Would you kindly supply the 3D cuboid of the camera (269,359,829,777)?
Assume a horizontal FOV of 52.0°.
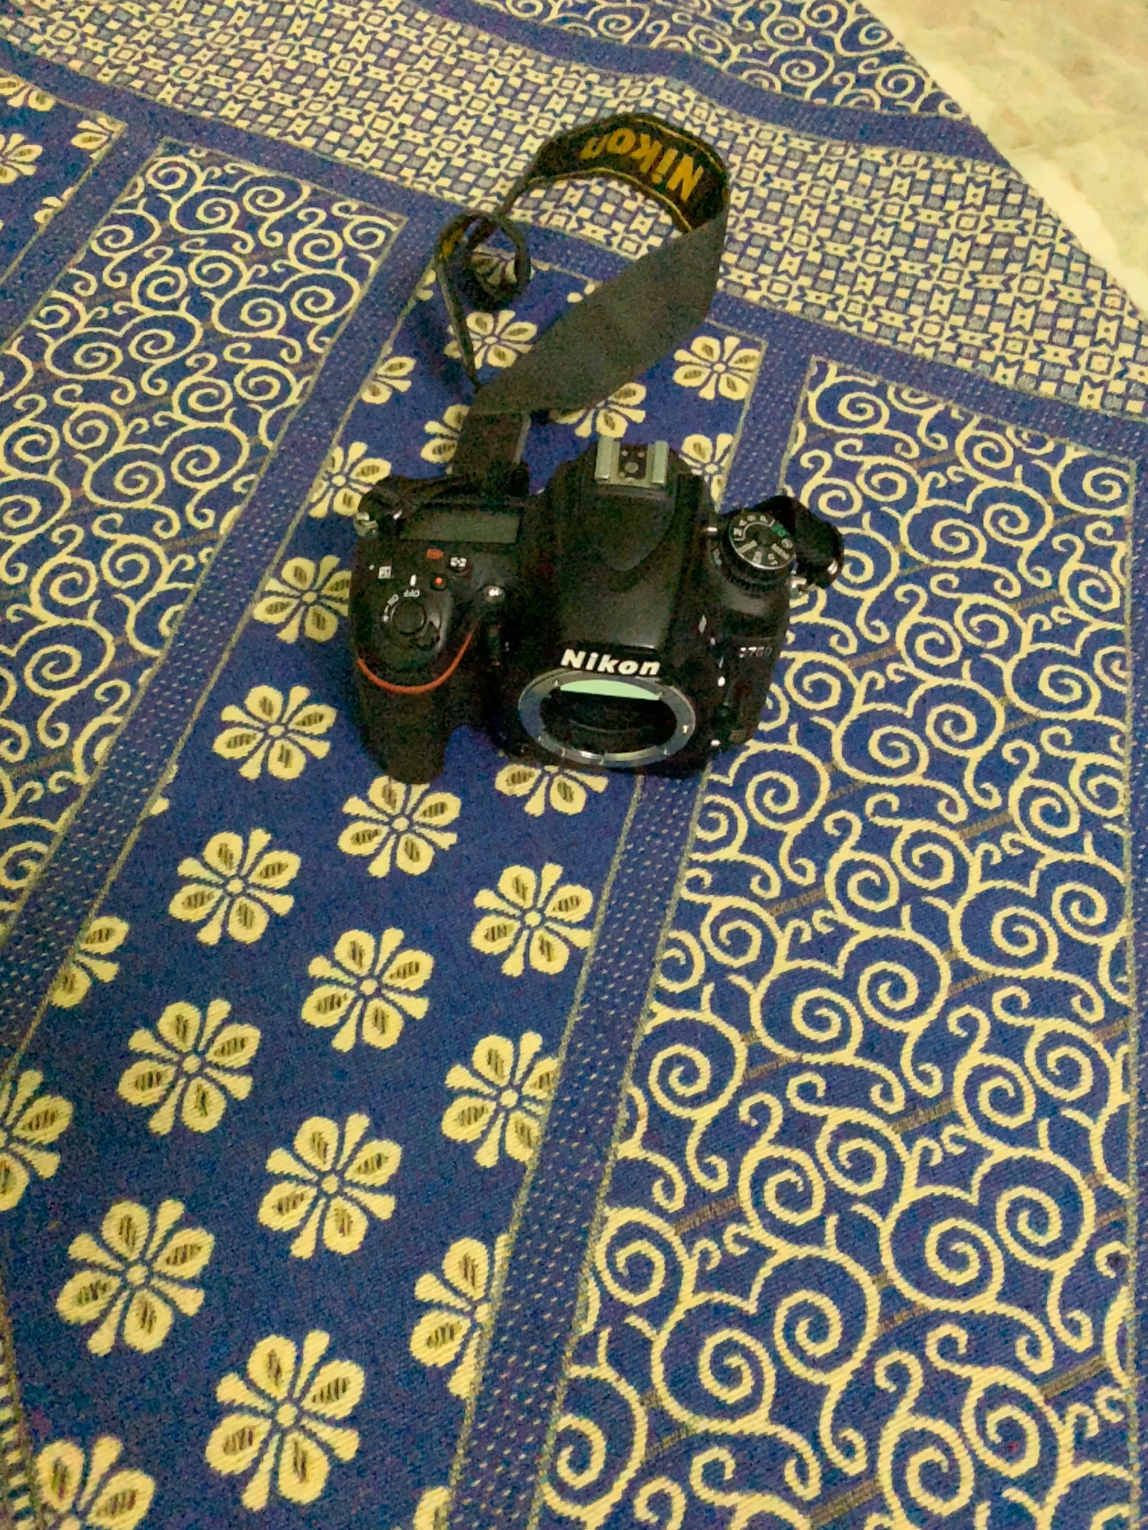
[{"bbox_3d":[-0.006,-0.060,0.376,0.150,0.090,0.088,3,60,0],"label":"camera"}]
